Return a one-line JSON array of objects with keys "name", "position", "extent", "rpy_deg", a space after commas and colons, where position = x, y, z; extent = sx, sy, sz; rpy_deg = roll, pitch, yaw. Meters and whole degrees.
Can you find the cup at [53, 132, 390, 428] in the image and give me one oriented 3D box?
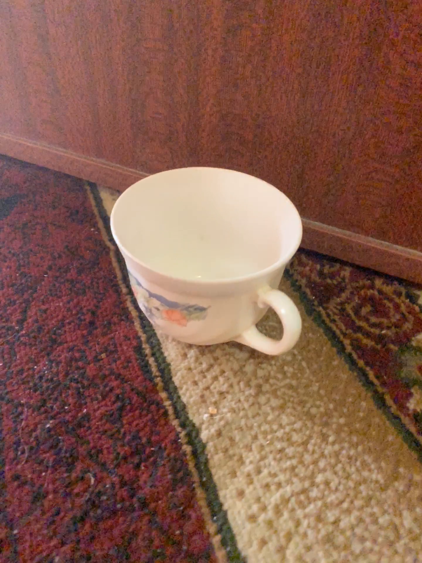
[{"name": "cup", "position": [0.001, -0.012, 0.193], "extent": [0.083, 0.053, 0.110], "rpy_deg": [-31, 52, -33]}]
